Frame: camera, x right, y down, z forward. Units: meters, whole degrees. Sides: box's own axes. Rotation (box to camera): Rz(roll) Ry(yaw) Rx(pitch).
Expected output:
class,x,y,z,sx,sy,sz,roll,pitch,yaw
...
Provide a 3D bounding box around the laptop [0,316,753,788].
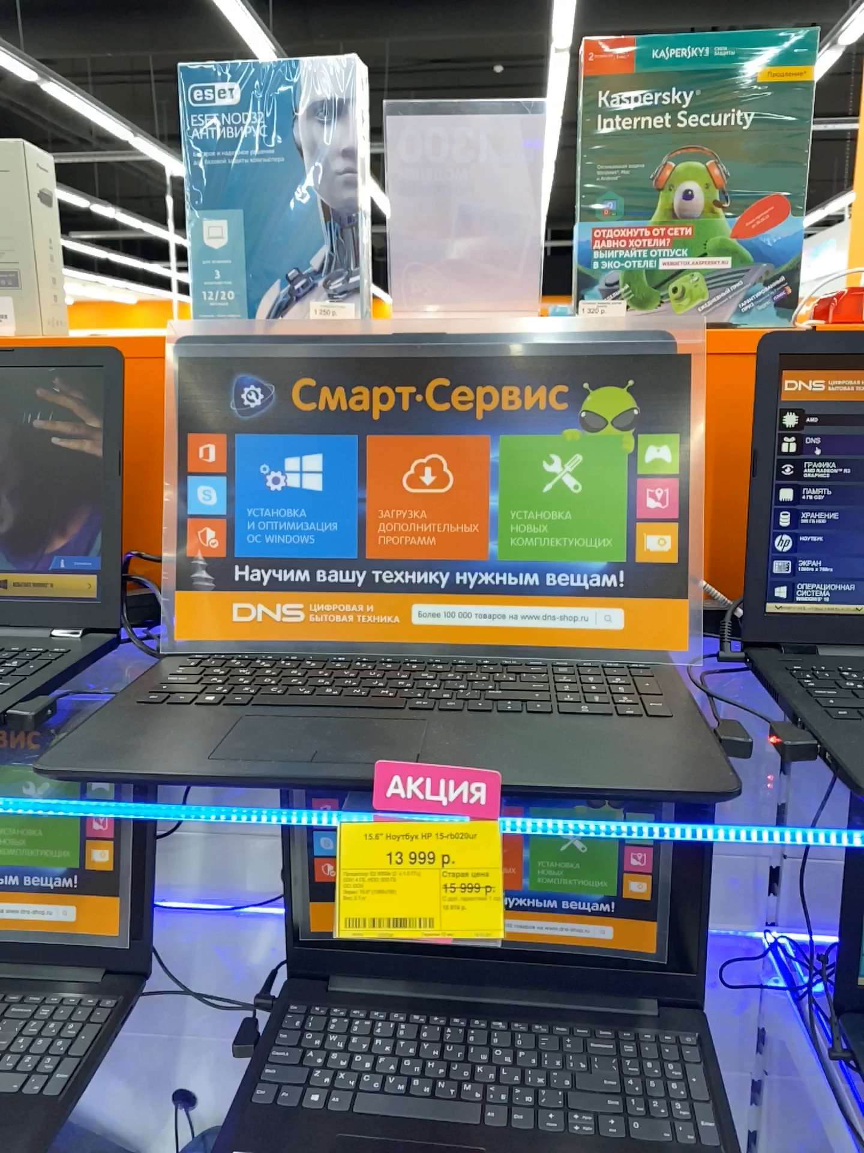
class,x,y,z,sx,sy,sz,roll,pitch,yaw
laptop,-0.023,-0.038,0.582,0.377,0.235,0.262,1,12,6
